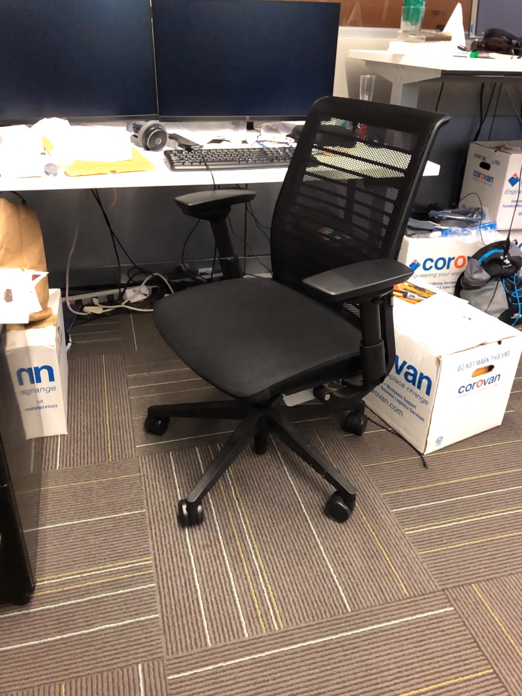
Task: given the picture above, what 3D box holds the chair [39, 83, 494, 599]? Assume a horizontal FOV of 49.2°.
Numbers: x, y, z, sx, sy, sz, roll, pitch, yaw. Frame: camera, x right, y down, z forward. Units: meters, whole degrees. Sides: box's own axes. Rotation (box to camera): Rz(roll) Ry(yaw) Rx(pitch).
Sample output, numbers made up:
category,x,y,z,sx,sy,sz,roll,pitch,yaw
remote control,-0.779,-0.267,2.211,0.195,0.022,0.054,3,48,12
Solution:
category,x,y,z,sx,sy,sz,roll,pitch,yaw
chair,-0.044,-0.117,1.513,0.702,0.994,0.783,-17,34,-30
